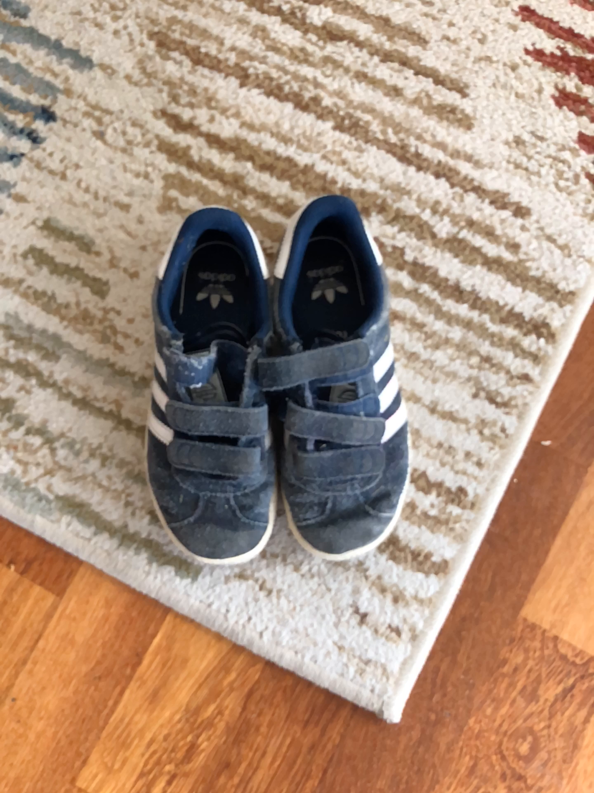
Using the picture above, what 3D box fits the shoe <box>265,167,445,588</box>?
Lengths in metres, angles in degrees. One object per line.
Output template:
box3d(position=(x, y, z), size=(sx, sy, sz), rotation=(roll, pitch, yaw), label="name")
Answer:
box3d(position=(0.028, -0.011, 0.369), size=(0.086, 0.052, 0.219), rotation=(-1, 82, 0), label="shoe")

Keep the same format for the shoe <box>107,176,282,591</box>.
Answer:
box3d(position=(-0.052, -0.008, 0.369), size=(0.084, 0.053, 0.216), rotation=(0, 82, 0), label="shoe")
